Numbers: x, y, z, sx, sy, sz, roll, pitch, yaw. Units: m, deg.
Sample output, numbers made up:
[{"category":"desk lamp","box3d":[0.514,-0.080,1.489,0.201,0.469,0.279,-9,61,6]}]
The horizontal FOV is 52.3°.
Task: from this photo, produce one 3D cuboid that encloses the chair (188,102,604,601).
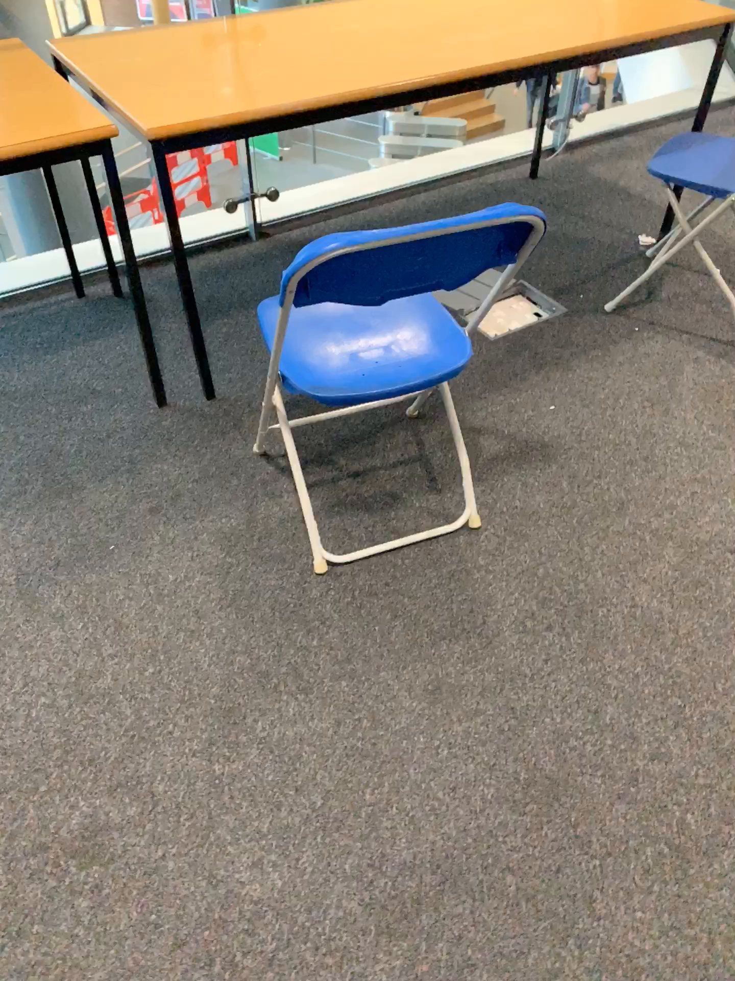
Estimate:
[{"category":"chair","box3d":[0.013,-0.281,1.503,0.531,0.713,0.555,-14,46,-15]}]
